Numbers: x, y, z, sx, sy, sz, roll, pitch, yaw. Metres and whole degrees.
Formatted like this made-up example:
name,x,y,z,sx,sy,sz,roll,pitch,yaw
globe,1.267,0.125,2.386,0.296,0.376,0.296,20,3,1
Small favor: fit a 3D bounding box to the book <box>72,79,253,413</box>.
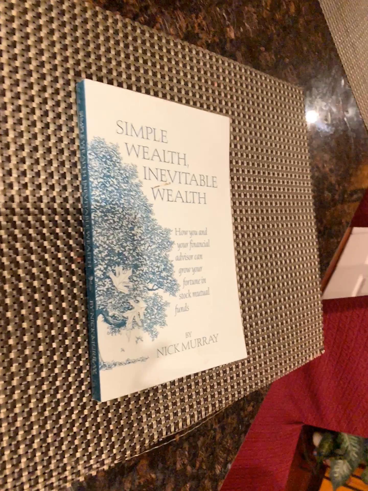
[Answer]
name,x,y,z,sx,sy,sz,roll,pitch,yaw
book,-0.008,-0.002,0.292,0.141,0.021,0.210,-3,90,-39
